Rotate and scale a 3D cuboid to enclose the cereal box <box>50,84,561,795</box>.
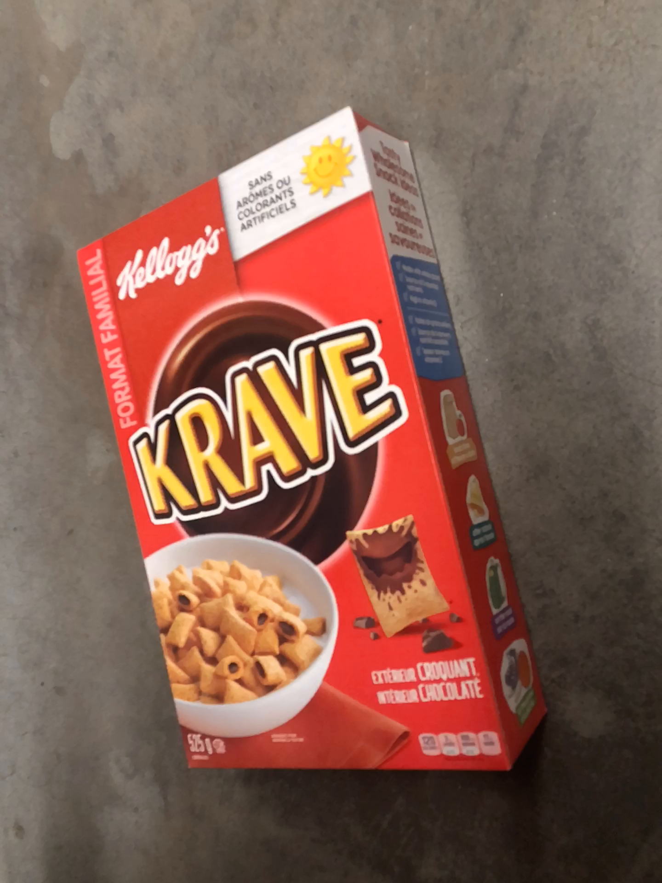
[{"bbox_3d":[-0.023,0.015,0.388,0.201,0.070,0.310,-15,88,31],"label":"cereal box"}]
